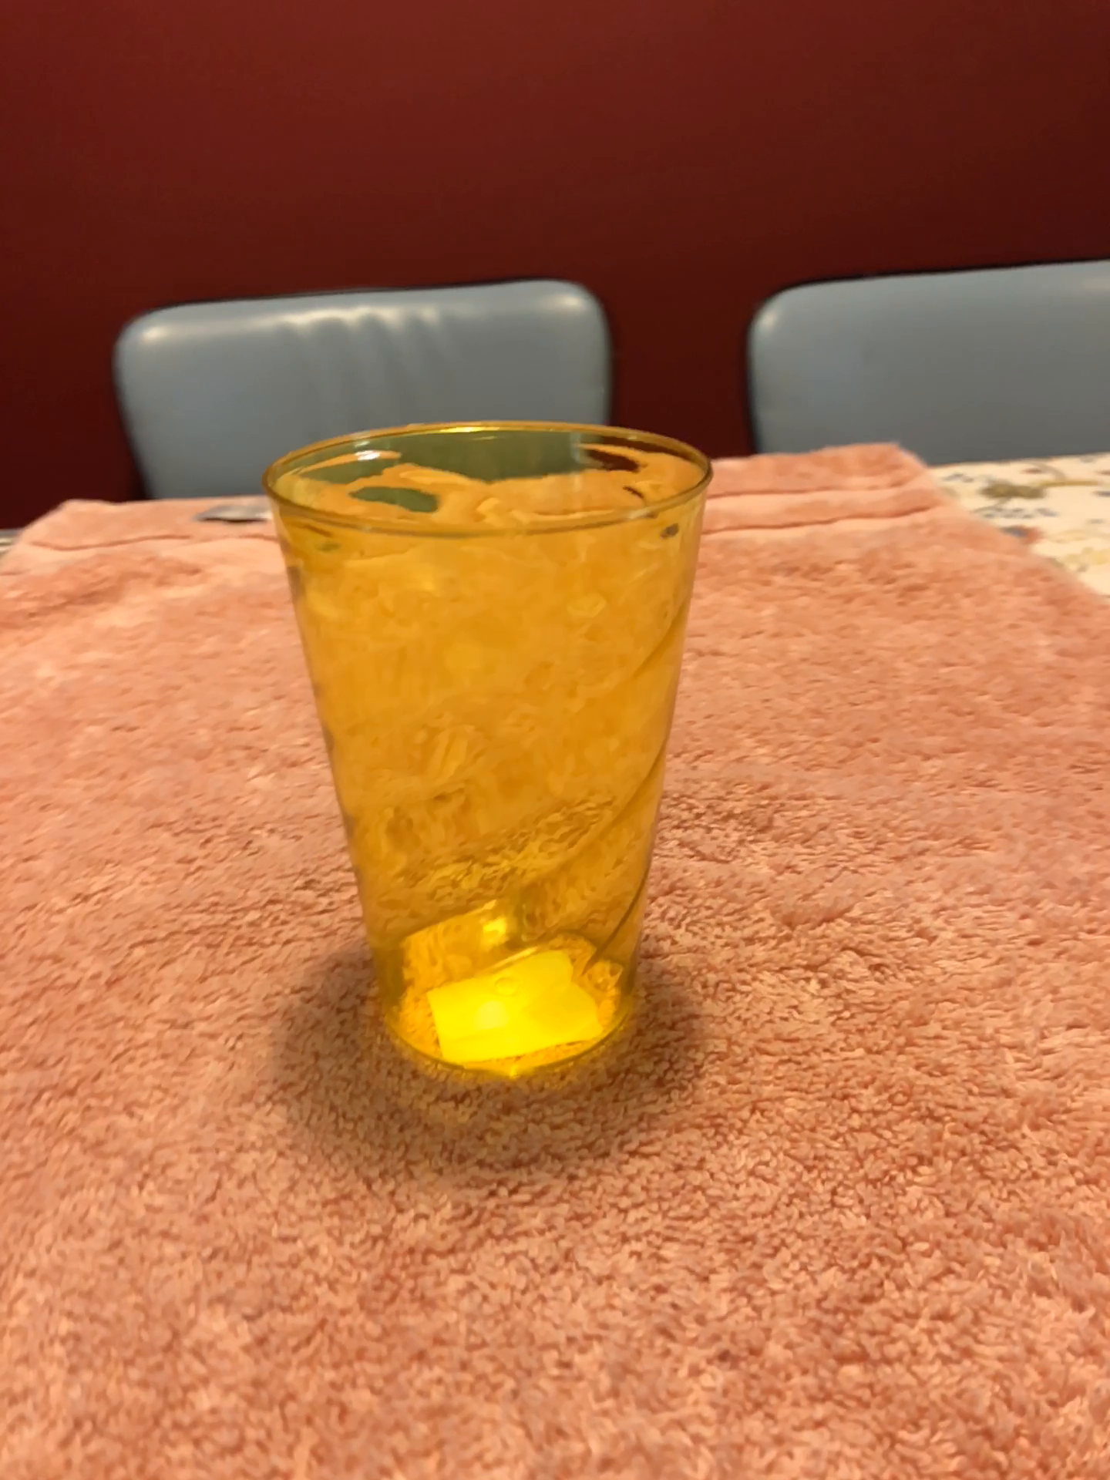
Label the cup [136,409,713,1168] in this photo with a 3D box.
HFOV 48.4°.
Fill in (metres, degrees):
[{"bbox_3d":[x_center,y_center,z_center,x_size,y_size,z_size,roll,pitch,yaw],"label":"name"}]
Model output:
[{"bbox_3d":[-0.013,0.005,0.242,0.080,0.119,0.081,-3,25,2],"label":"cup"}]
